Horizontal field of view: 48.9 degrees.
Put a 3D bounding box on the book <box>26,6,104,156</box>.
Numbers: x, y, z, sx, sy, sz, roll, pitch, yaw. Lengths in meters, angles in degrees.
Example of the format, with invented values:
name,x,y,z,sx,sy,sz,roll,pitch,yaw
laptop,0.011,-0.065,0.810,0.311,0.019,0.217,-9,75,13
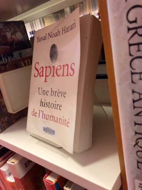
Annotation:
name,x,y,z,sx,sy,sz,roll,pitch,yaw
book,-0.027,-0.027,0.337,0.052,0.244,0.178,1,3,-43
